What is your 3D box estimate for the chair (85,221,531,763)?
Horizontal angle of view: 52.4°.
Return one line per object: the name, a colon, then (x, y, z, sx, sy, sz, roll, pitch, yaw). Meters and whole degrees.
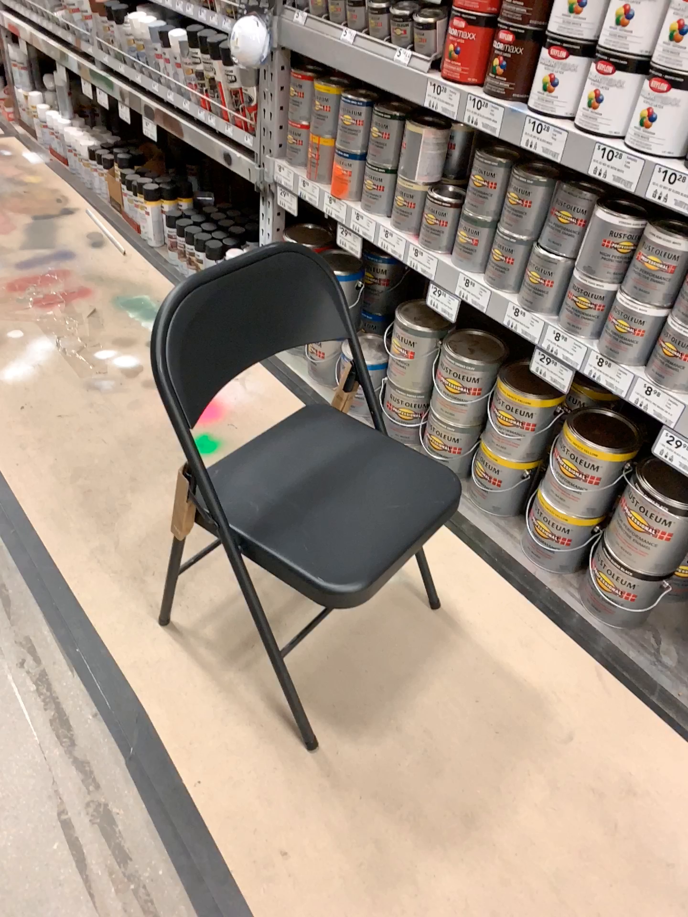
chair: (-0.072, 0.053, 1.254, 0.475, 0.713, 0.452, 31, 46, 27)
